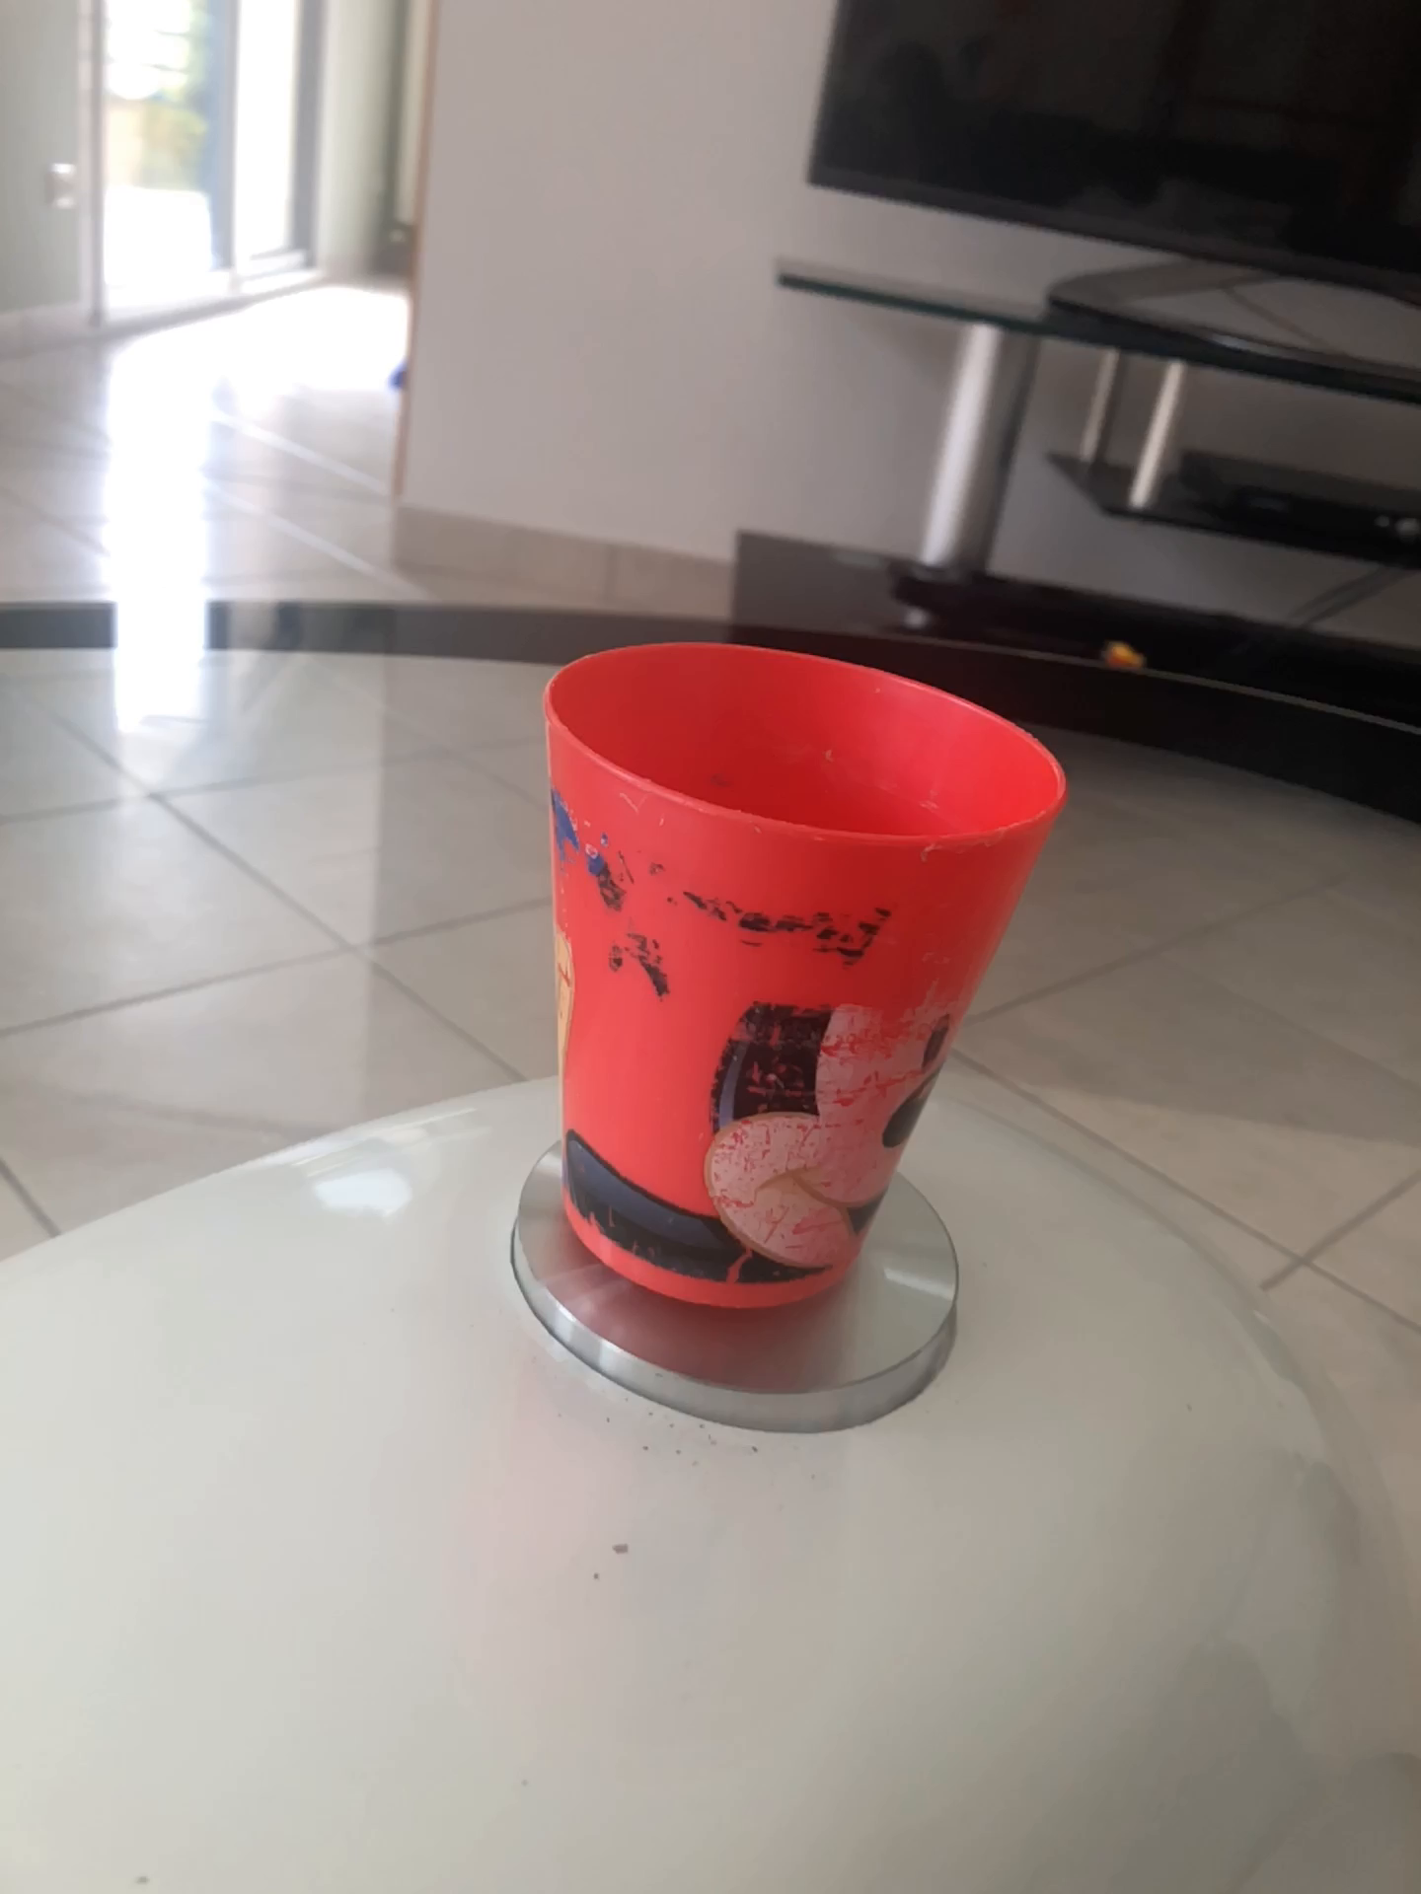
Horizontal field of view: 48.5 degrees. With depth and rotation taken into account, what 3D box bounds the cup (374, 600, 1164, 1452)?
[{"bbox_3d":[0.008,0.004,0.249,0.080,0.089,0.080,8,25,-4],"label":"cup"}]
